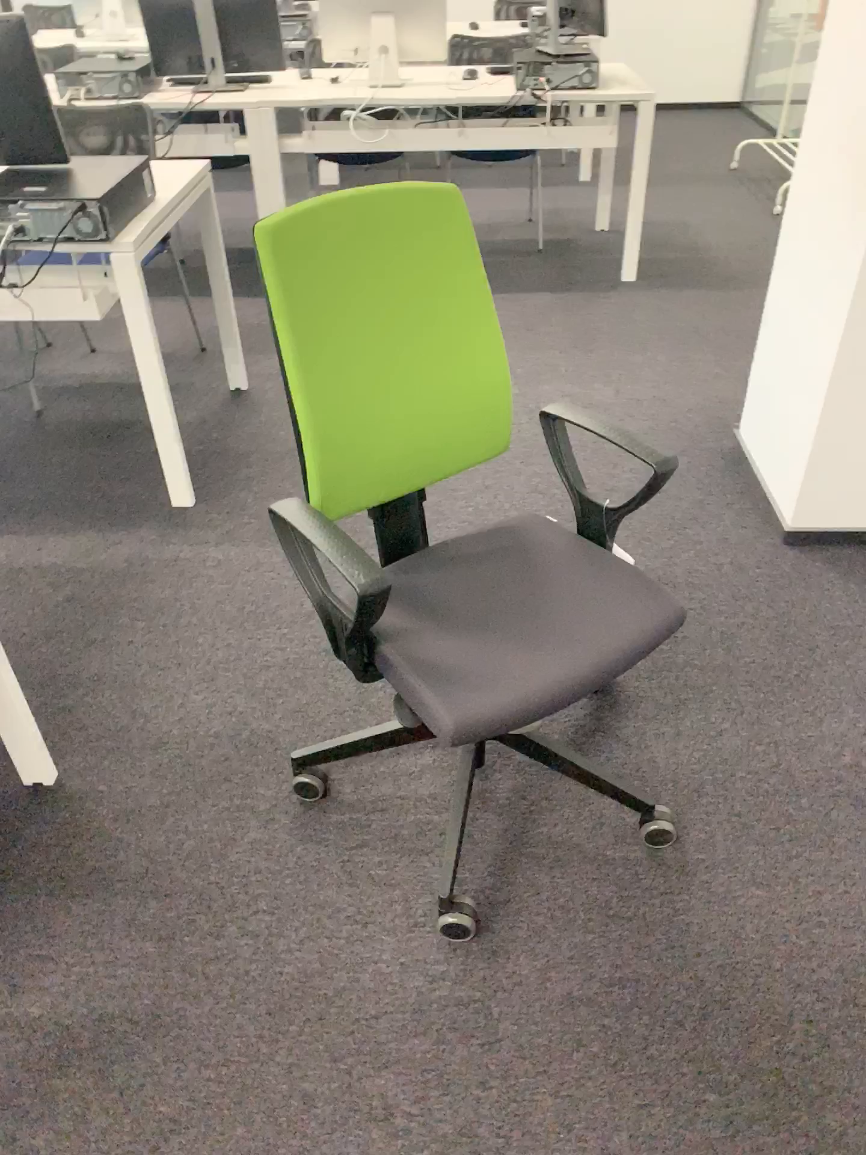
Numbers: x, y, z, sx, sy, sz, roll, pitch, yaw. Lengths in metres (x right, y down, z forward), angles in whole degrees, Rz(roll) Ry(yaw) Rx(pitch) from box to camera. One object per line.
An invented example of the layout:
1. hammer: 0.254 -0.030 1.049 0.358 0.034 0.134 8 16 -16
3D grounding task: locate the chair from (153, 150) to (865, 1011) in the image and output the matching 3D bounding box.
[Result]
1. chair: 0.119 -0.025 1.470 0.722 1.054 0.672 -25 43 -27
